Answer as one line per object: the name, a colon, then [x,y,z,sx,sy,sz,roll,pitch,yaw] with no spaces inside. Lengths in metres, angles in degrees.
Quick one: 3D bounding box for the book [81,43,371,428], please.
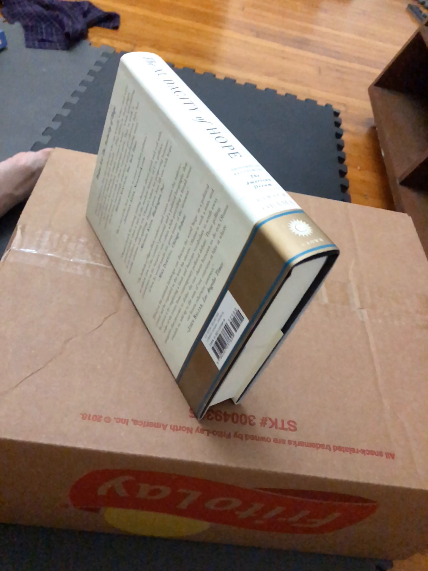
book: [-0.021,-0.046,0.379,0.060,0.169,0.251,-9,52,-36]
